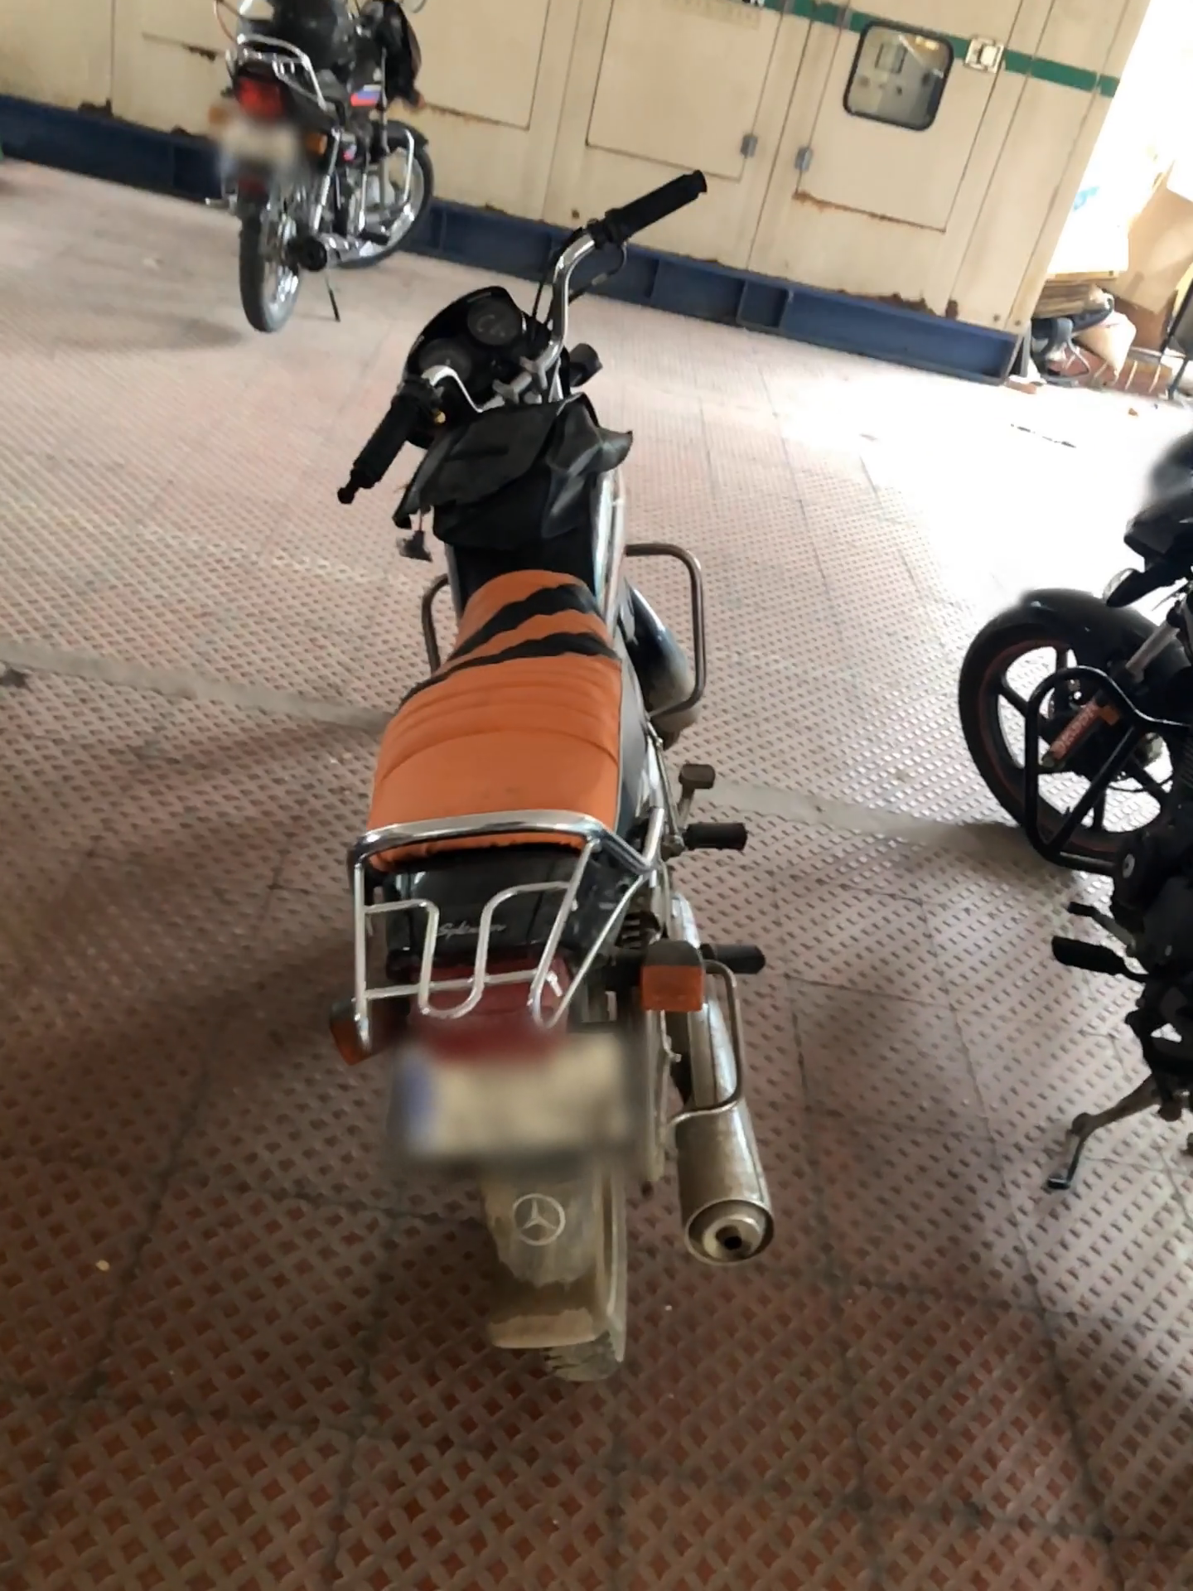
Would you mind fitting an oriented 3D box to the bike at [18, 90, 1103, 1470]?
[{"bbox_3d":[-0.196,-0.137,1.705,0.688,1.123,1.410,8,33,-11],"label":"bike"}]
